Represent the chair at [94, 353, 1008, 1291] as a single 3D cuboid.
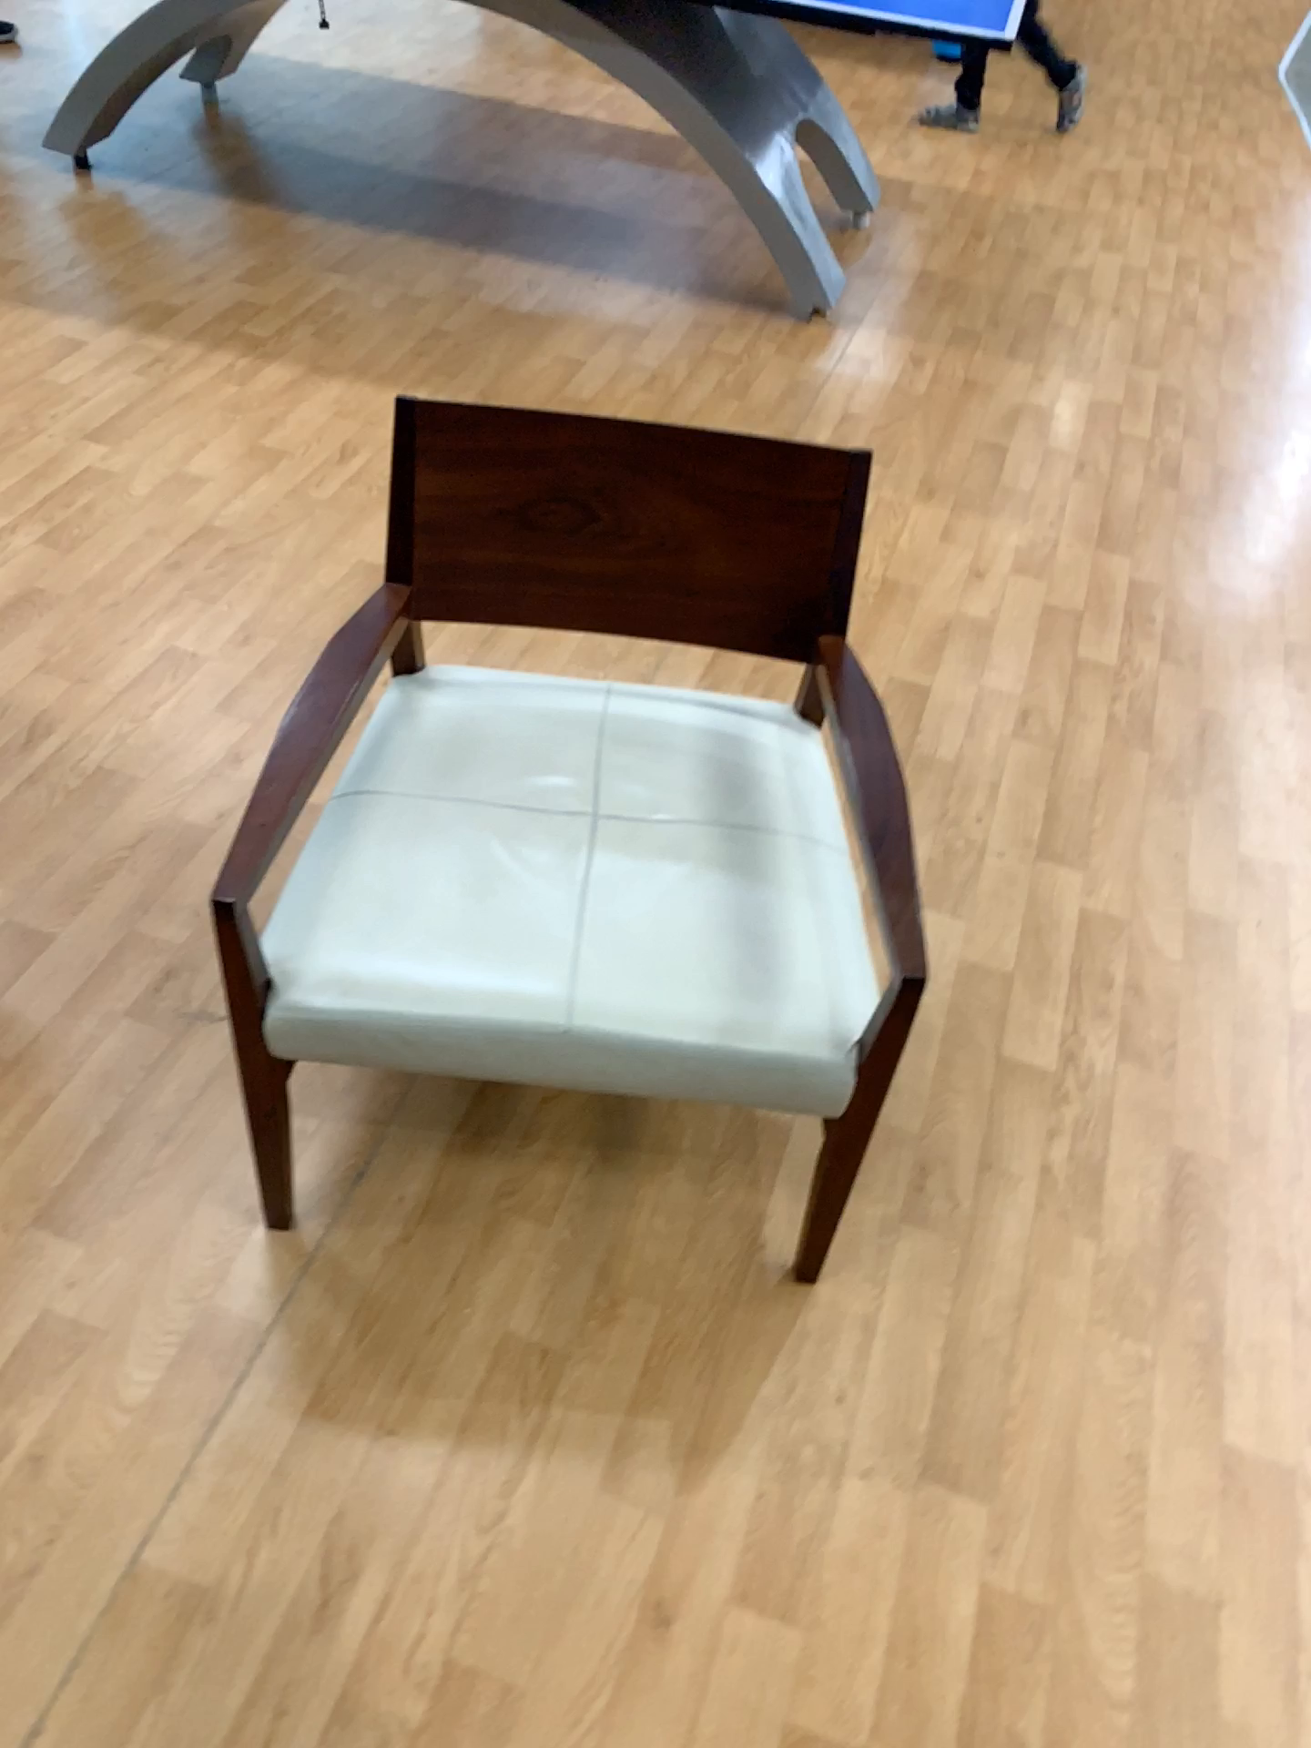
[{"bbox_3d":[-0.083,-0.066,1.459,0.670,0.635,0.716,6,44,-1],"label":"chair"}]
